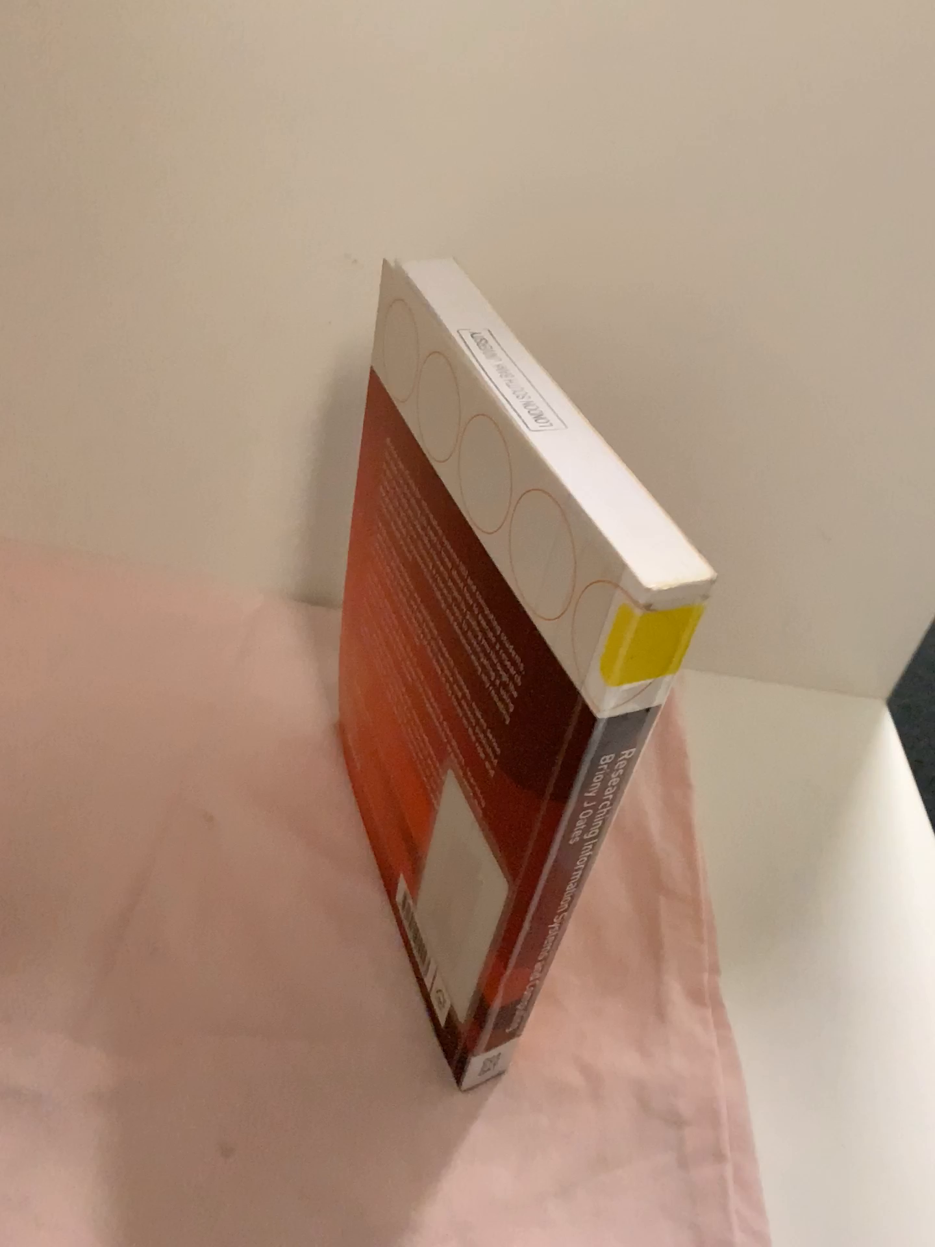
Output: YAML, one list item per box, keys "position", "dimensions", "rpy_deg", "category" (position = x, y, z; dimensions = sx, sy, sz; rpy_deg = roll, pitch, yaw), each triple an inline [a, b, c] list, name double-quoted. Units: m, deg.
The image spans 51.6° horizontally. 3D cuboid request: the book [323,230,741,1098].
- position: [-0.007, 0.015, 0.350]
  dimensions: [0.026, 0.238, 0.202]
  rpy_deg: [-6, 42, -22]
  category: "book"
